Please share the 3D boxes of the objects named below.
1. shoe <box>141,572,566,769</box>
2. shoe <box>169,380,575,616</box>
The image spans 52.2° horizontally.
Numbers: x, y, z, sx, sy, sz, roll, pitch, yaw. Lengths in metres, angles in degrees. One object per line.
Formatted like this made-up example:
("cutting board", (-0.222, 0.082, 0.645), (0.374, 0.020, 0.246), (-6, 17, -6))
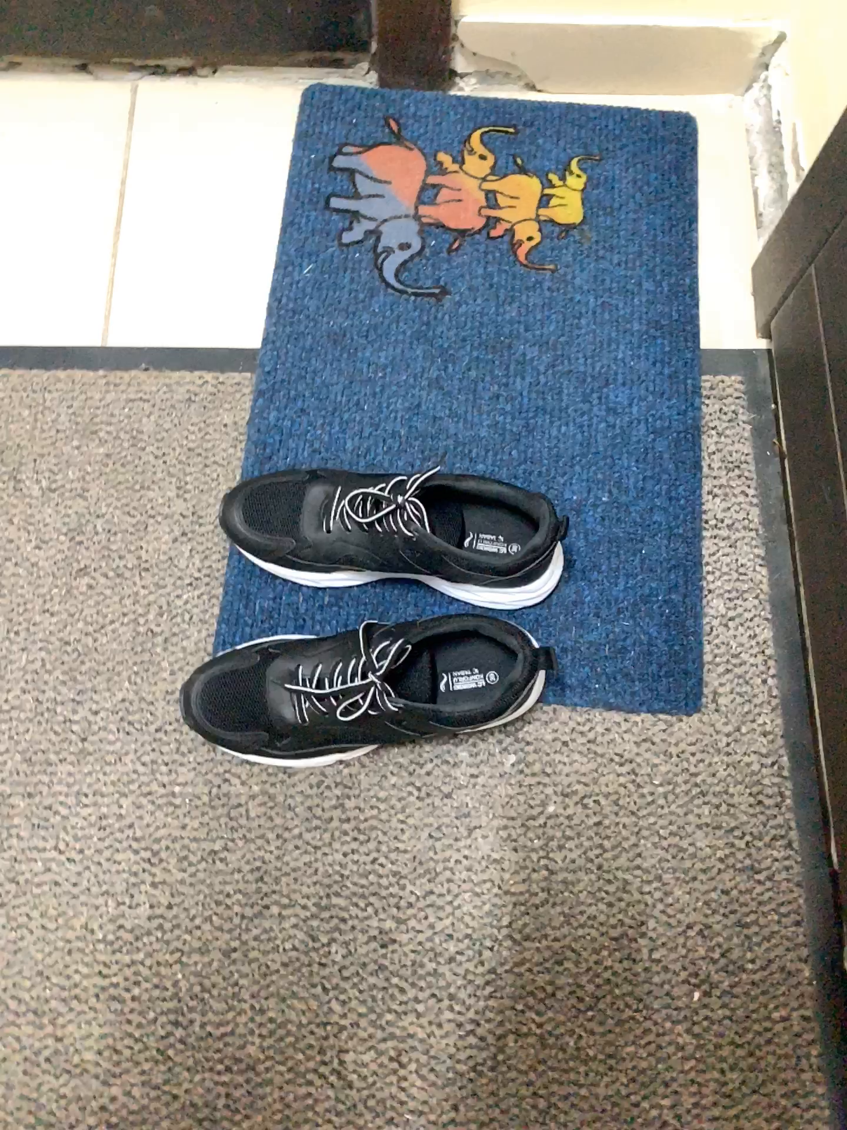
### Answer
("shoe", (-0.045, 0.076, 0.596), (0.260, 0.100, 0.110), (-2, 72, -1))
("shoe", (-0.032, -0.045, 0.630), (0.260, 0.100, 0.110), (7, 72, 1))
